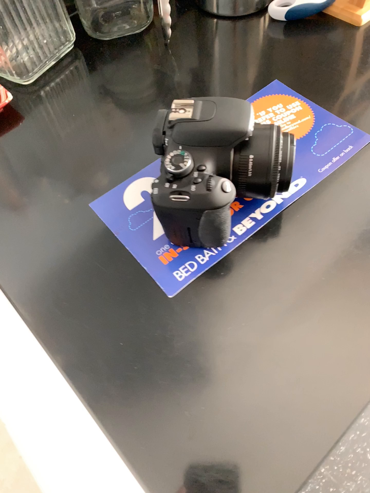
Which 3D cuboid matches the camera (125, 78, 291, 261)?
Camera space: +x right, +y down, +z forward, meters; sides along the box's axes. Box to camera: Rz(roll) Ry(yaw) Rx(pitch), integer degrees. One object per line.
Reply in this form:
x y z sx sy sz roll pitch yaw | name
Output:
0.028 -0.068 0.340 0.118 0.098 0.123 4 60 9 | camera
